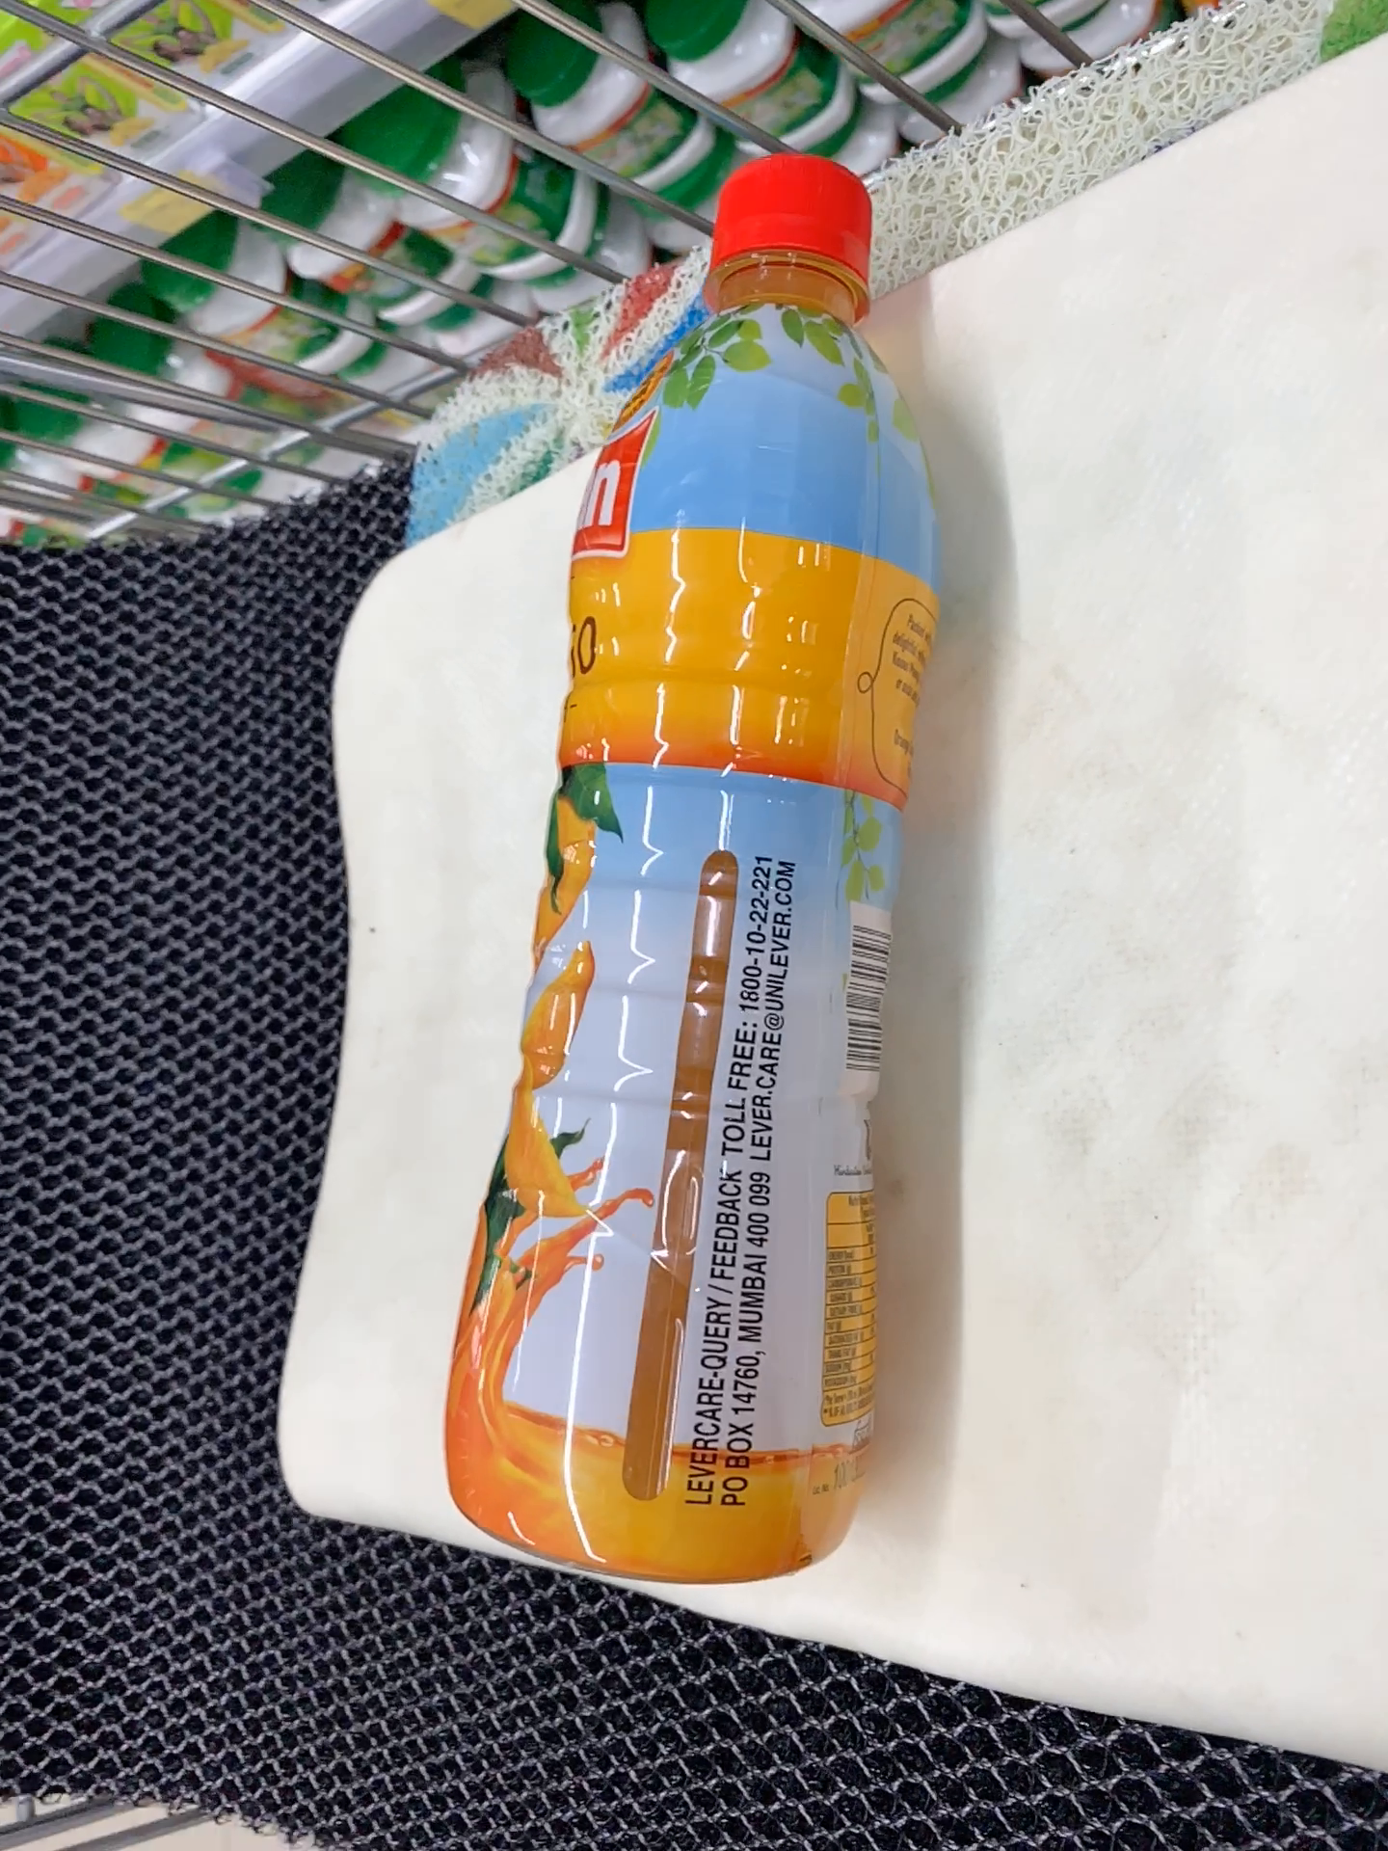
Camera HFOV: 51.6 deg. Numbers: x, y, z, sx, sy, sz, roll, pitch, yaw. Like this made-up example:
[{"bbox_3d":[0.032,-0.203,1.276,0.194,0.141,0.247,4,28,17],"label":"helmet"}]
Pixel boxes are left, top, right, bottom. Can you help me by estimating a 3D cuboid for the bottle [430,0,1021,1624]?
[{"bbox_3d":[0.009,-0.019,0.241,0.080,0.070,0.230,1,89,9],"label":"bottle"}]
